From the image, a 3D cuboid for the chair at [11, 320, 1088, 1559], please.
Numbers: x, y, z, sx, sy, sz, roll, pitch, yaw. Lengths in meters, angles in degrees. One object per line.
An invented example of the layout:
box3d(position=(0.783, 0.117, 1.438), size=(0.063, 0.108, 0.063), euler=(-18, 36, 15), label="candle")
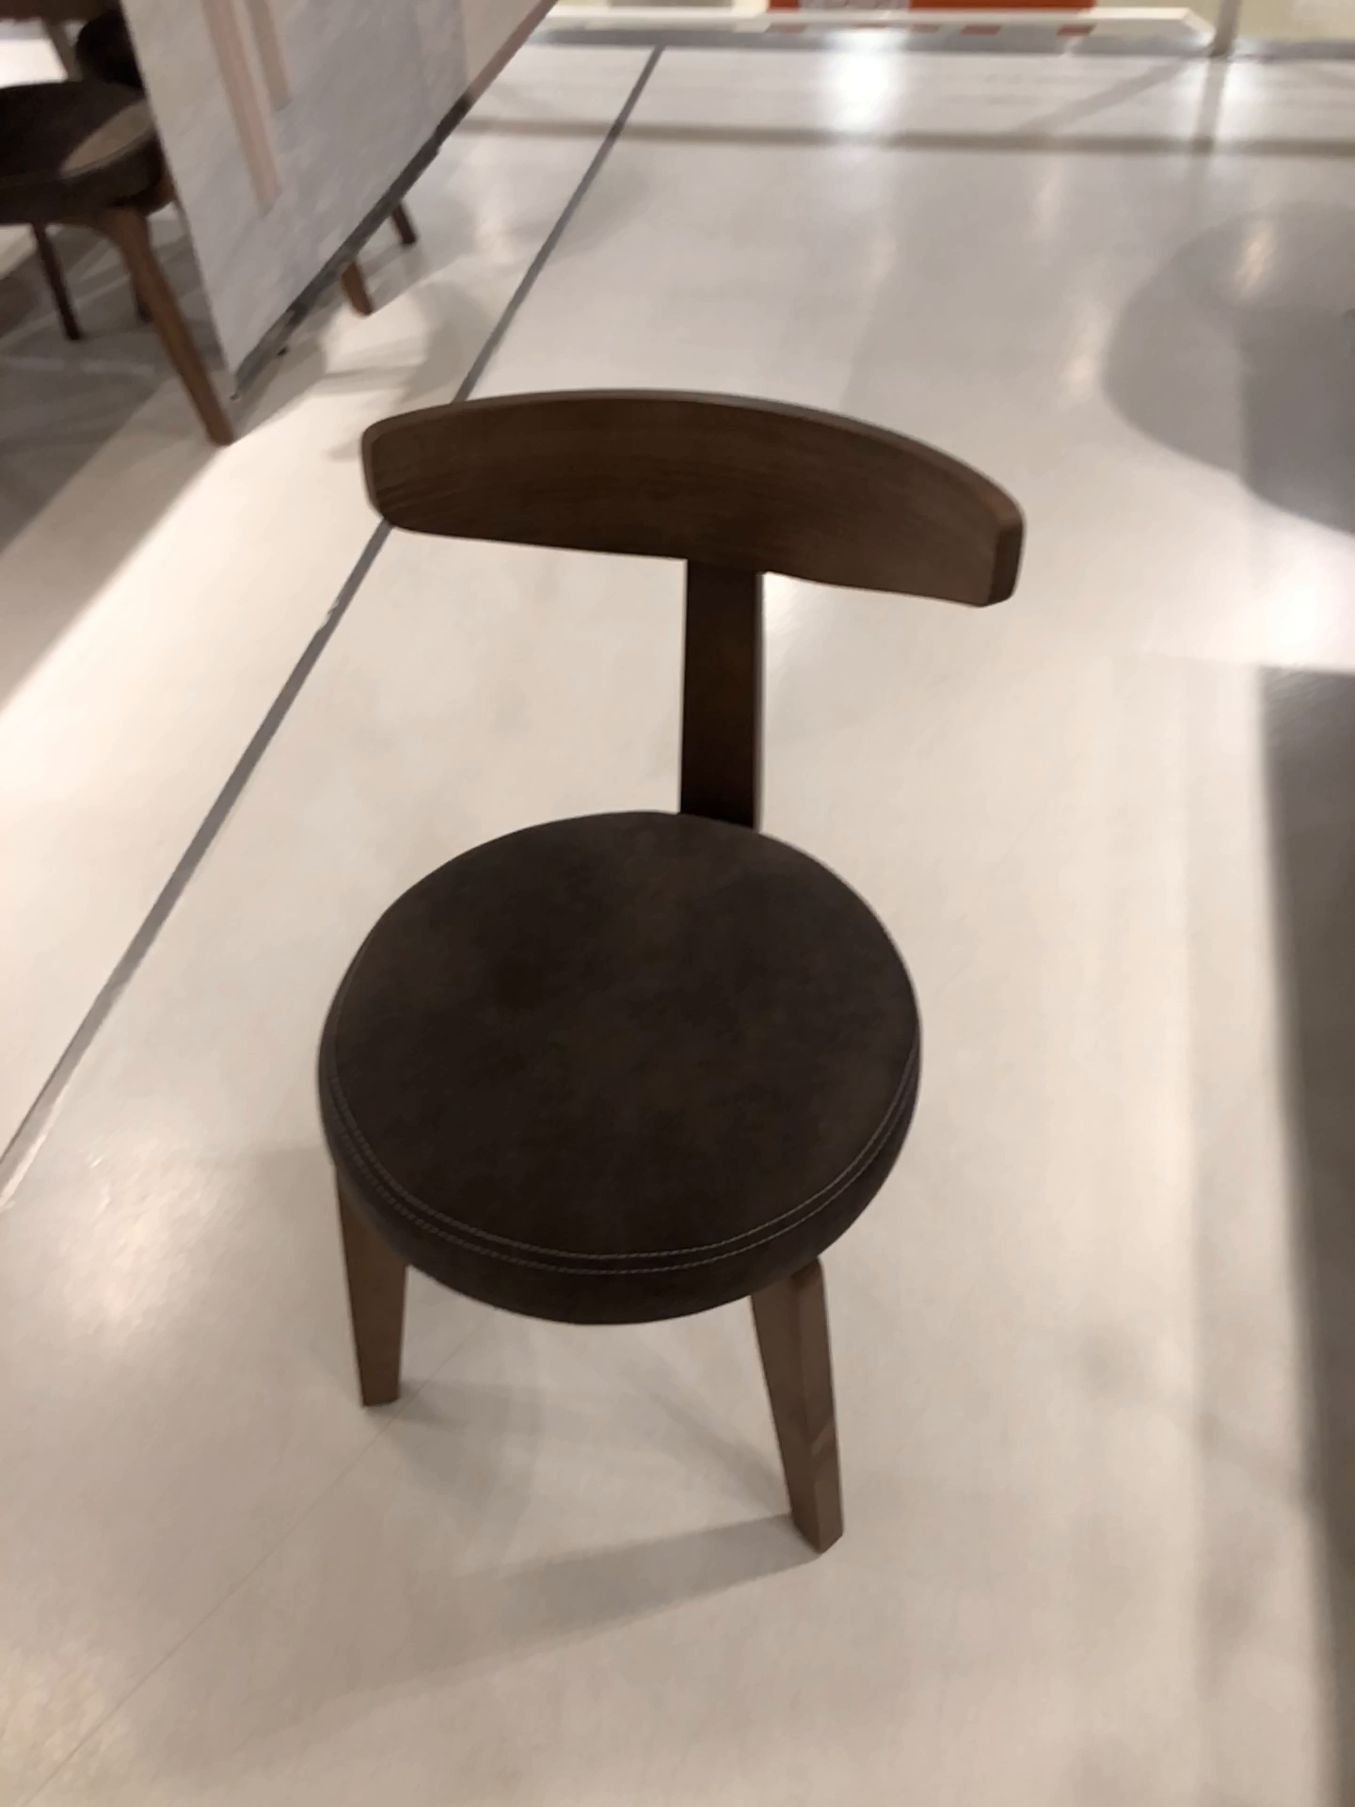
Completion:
box3d(position=(-0.016, 0.042, 1.099), size=(0.470, 0.706, 0.493), euler=(11, 48, 14), label="chair")
